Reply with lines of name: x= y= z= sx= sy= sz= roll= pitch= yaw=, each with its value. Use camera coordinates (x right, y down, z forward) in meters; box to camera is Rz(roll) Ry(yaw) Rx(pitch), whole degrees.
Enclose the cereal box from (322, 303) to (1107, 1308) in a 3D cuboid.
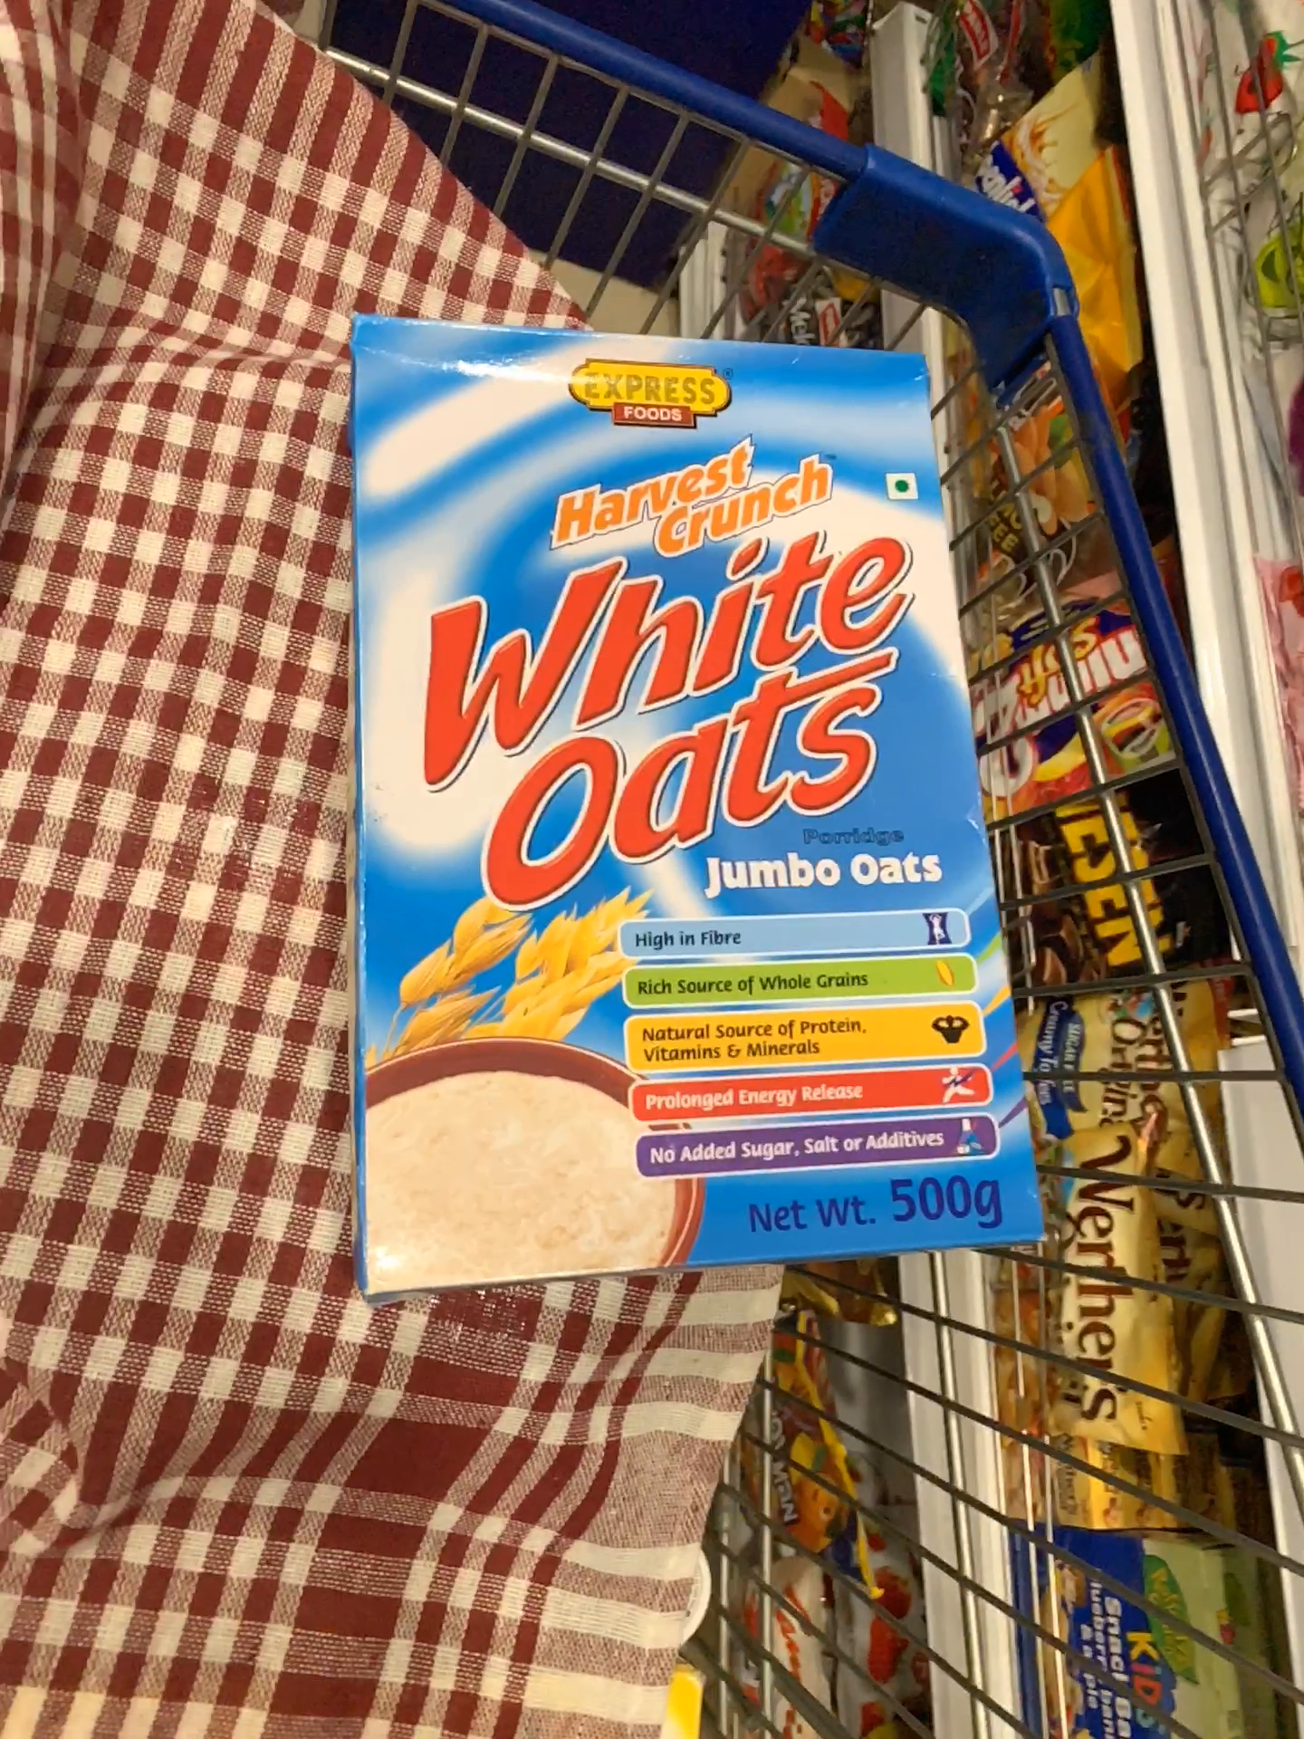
cereal box: x=0.004 y=-0.014 z=0.301 sx=0.150 sy=0.060 sz=0.200 roll=-1 pitch=76 yaw=-14
